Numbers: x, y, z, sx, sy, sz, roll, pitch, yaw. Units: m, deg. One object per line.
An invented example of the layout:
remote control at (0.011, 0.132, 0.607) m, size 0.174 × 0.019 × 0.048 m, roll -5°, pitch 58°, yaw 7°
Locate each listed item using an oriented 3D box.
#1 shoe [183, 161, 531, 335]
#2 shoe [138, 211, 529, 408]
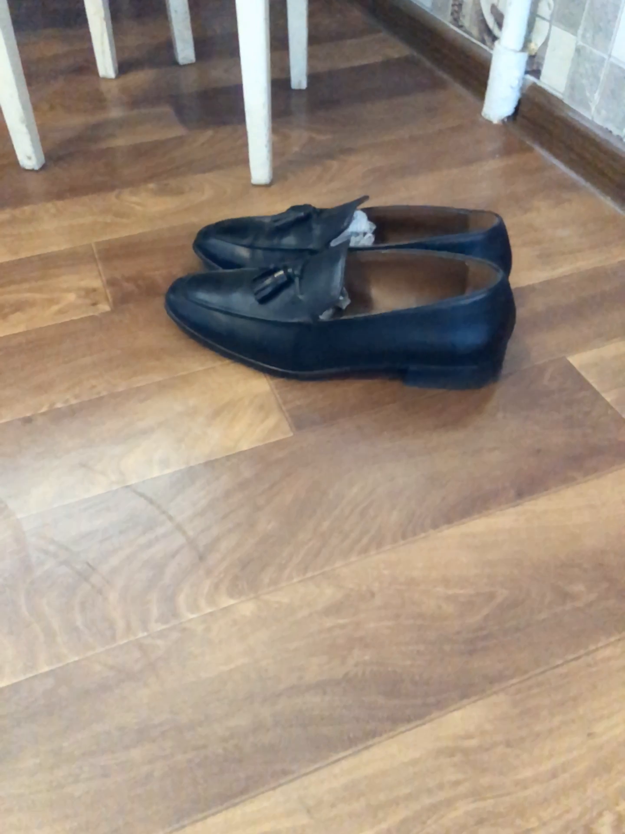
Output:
shoe at (0.038, -0.139, 0.552) m, size 0.253 × 0.068 × 0.101 m, roll 8°, pitch 48°, yaw 9°
shoe at (0.018, -0.082, 0.498) m, size 0.253 × 0.068 × 0.101 m, roll 7°, pitch 48°, yaw 8°
